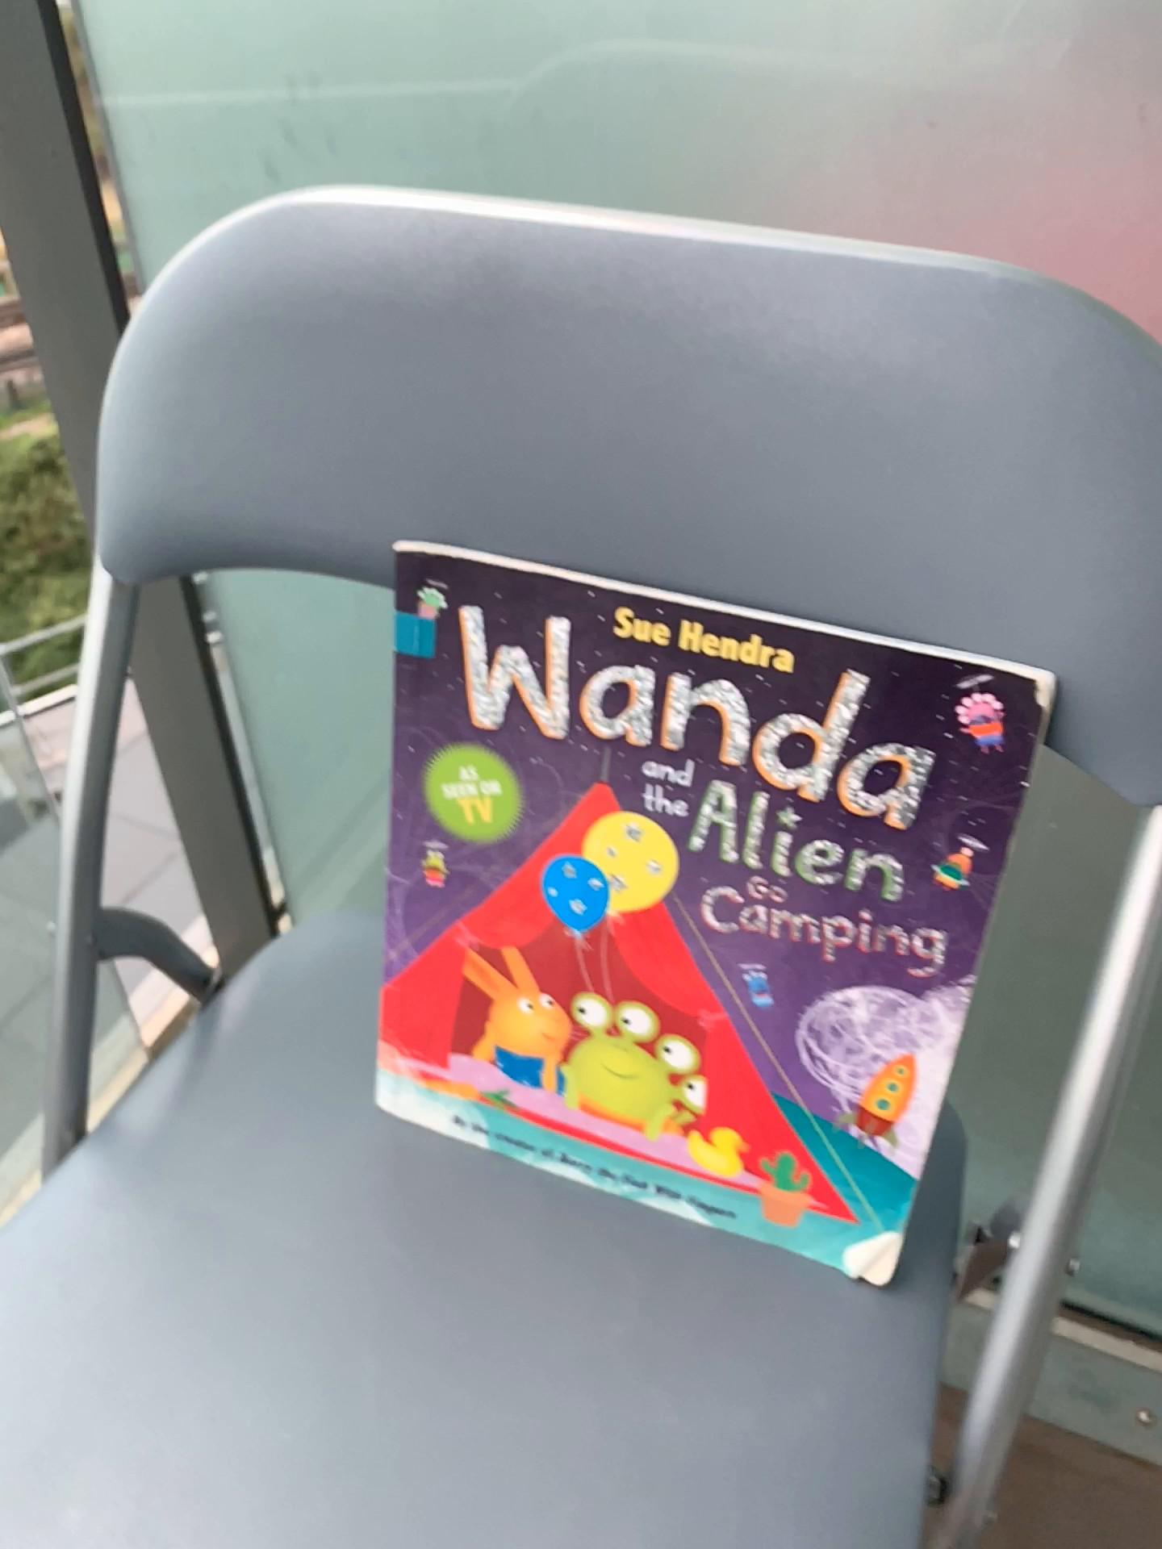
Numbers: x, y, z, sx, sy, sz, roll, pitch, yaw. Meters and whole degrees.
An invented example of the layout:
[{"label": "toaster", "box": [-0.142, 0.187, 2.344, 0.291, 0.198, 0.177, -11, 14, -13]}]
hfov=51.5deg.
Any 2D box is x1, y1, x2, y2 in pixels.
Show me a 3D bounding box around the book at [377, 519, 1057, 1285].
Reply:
[{"label": "book", "box": [0.030, 0.056, 0.470, 0.230, 0.268, 0.030, 14, 30, 17]}]
